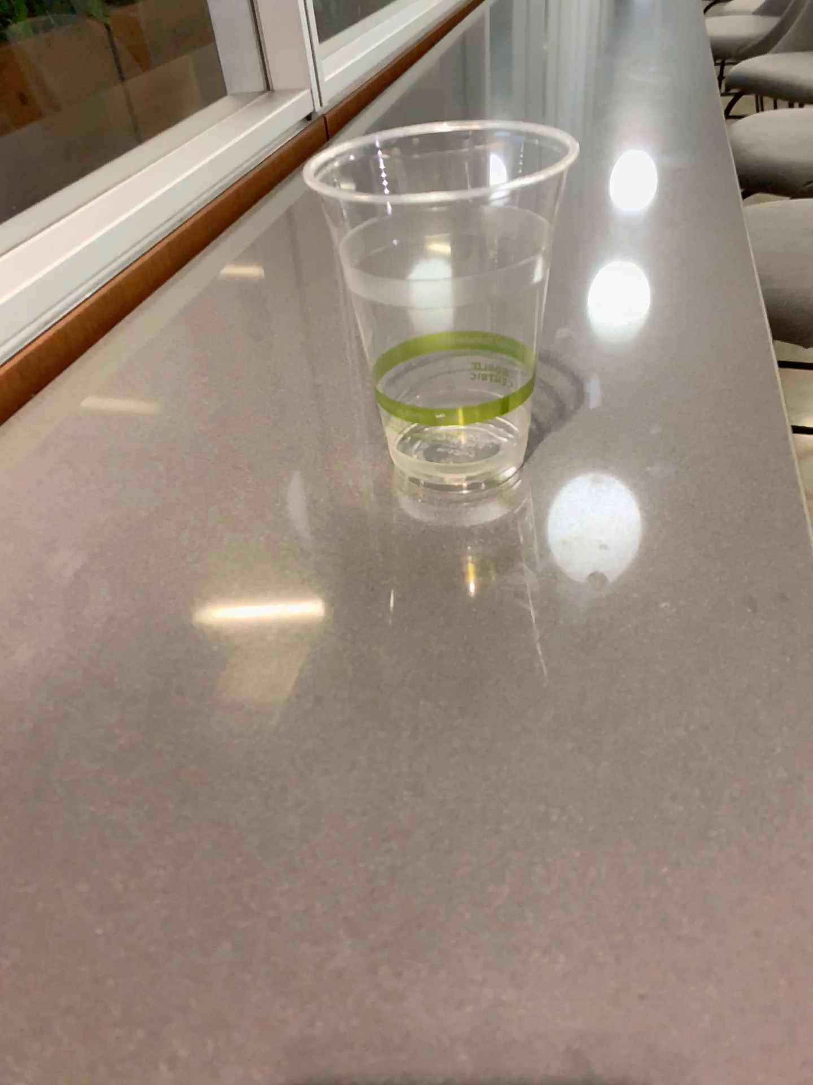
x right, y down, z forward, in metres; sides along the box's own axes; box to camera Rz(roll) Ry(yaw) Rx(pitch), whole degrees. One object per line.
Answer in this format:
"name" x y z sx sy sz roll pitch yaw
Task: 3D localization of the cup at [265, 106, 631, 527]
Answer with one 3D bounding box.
"cup" 0.015 -0.098 0.346 0.100 0.119 0.111 -19 39 -14
